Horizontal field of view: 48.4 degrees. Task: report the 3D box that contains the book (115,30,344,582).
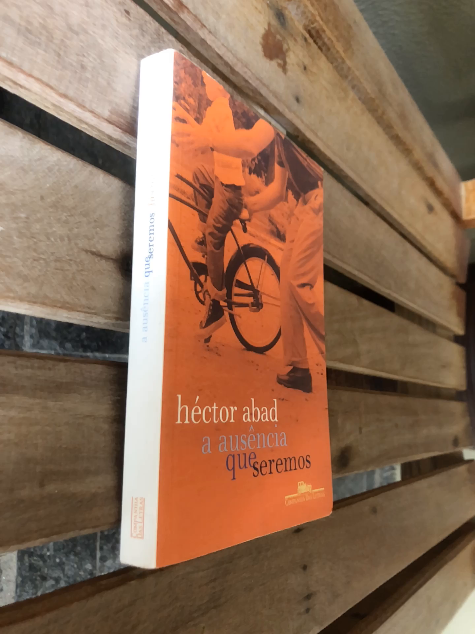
[{"bbox_3d":[0.009,-0.002,0.252,0.143,0.020,0.200,15,73,-53],"label":"book"}]
